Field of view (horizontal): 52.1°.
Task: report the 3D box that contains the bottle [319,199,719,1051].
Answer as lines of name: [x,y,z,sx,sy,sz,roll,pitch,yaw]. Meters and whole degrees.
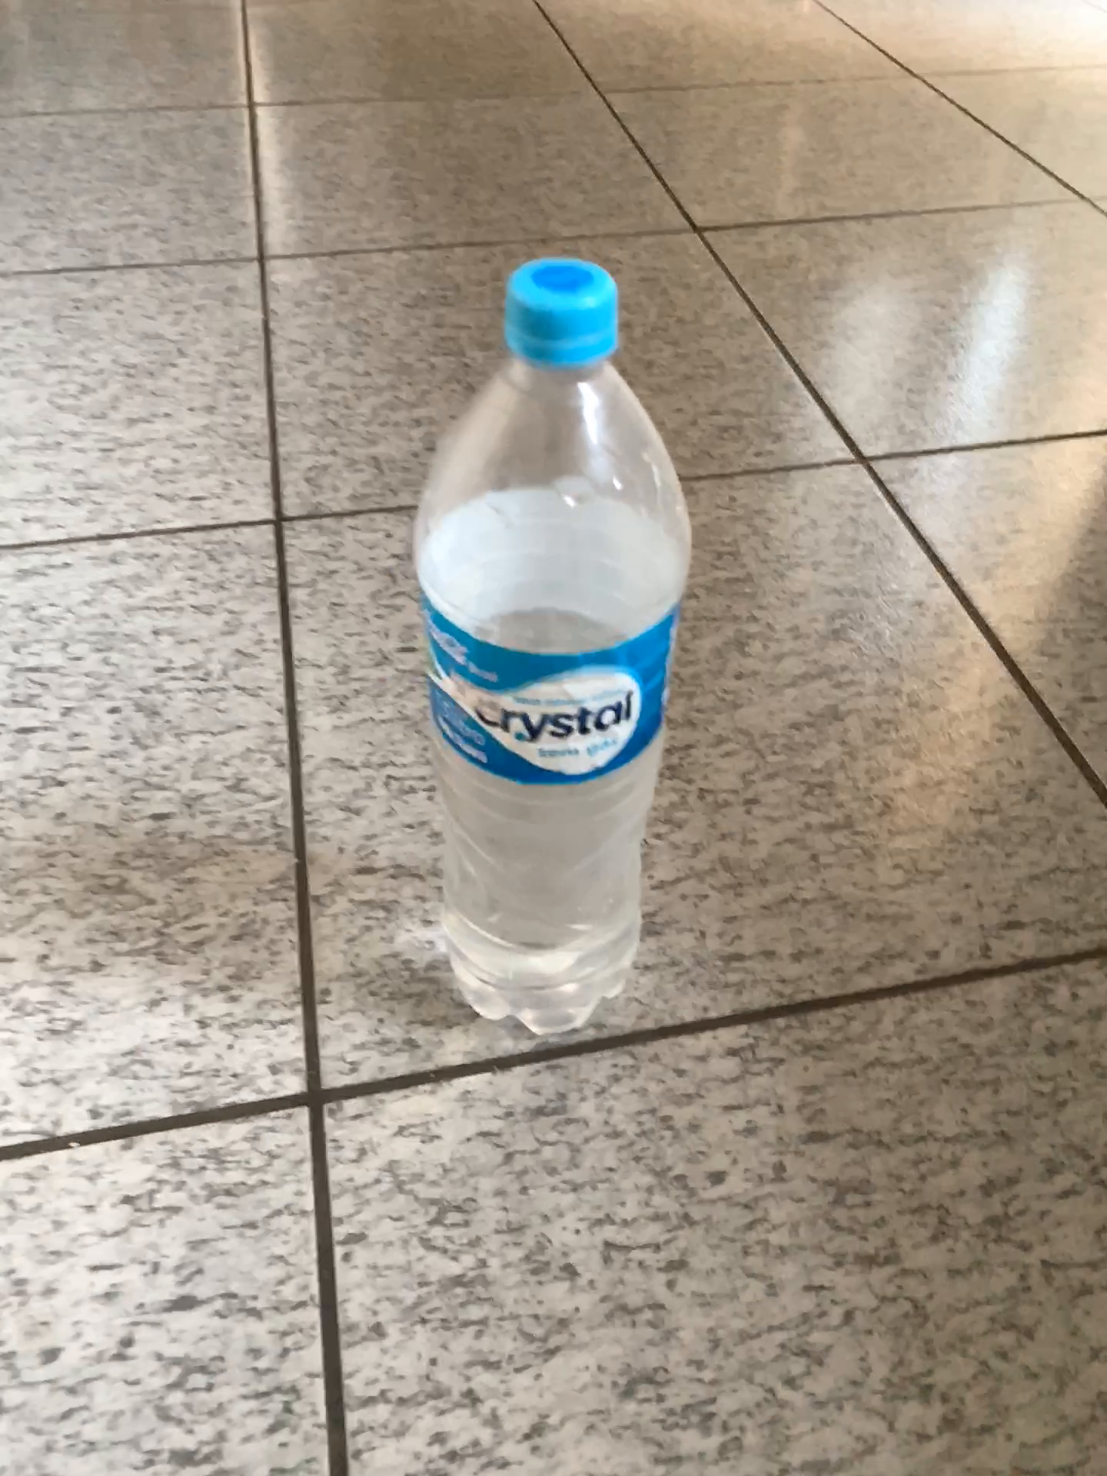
bottle: [-0.006,-0.012,0.392,0.090,0.298,0.090,1,46,-1]
